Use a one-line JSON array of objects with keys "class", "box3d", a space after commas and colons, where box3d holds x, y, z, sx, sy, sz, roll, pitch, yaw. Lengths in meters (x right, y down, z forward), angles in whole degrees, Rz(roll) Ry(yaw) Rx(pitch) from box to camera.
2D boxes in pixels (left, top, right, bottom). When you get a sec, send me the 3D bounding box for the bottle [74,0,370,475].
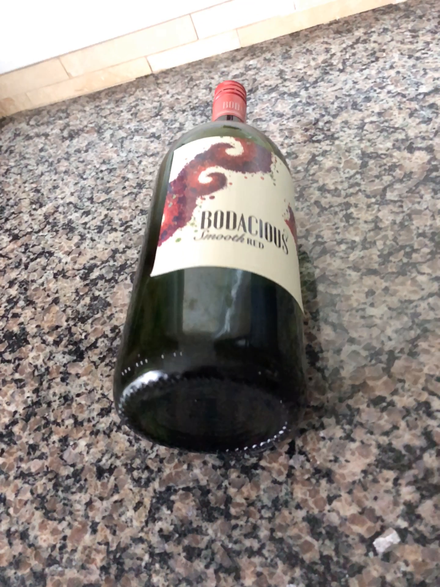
[{"class": "bottle", "box3d": [0.006, -0.067, 0.352, 0.100, 0.110, 0.341, -42, 33, 41]}]
